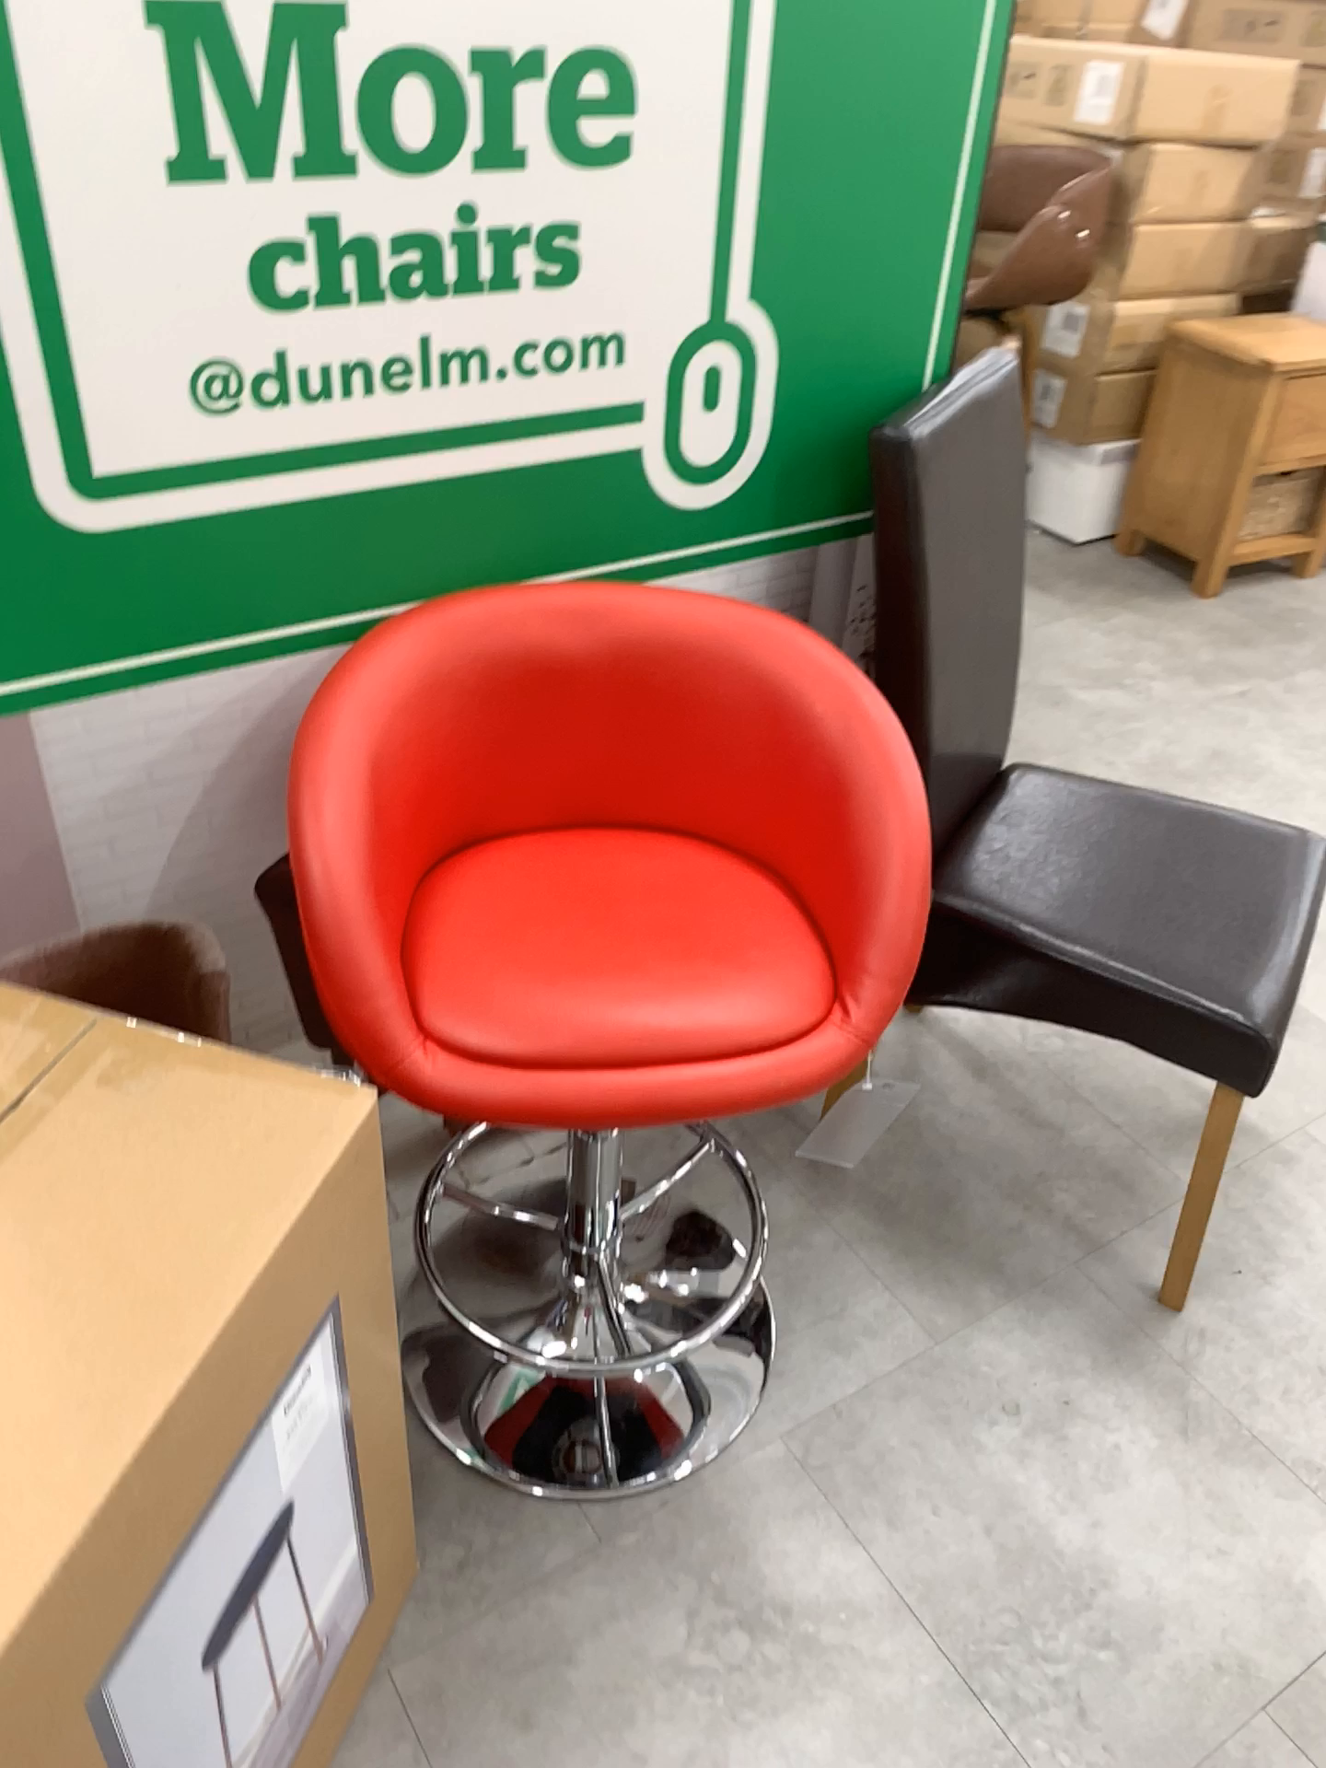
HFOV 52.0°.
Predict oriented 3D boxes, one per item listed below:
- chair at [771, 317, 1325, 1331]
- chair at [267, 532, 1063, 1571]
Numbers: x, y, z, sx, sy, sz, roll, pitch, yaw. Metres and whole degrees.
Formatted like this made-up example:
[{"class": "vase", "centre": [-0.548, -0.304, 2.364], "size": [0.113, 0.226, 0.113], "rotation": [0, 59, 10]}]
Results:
[{"class": "chair", "centre": [0.495, -0.067, 1.525], "size": [0.519, 0.919, 0.447], "rotation": [20, 38, 23]}, {"class": "chair", "centre": [-0.051, 0.144, 1.234], "size": [0.495, 0.761, 0.482], "rotation": [-4, 36, -11]}]
